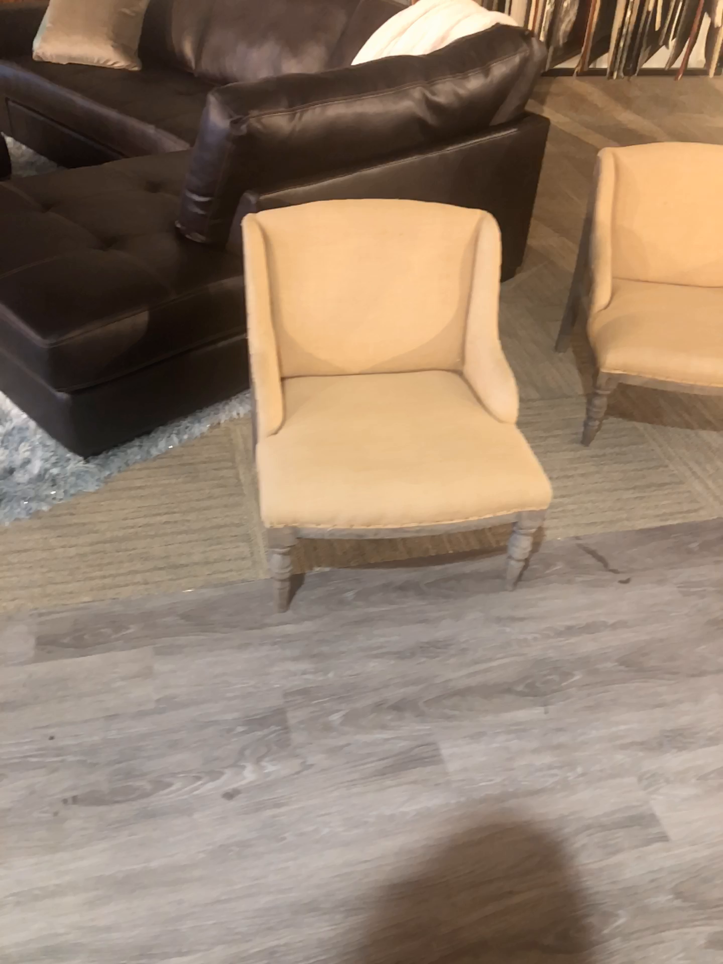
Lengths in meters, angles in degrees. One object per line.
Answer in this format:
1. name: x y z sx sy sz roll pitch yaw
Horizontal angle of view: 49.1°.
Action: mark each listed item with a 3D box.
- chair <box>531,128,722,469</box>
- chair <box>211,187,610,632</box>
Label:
1. chair: 0.889 -0.527 2.201 0.627 0.625 0.722 4 39 0
2. chair: 0.027 -0.187 1.756 0.637 0.685 0.672 -5 40 -11
